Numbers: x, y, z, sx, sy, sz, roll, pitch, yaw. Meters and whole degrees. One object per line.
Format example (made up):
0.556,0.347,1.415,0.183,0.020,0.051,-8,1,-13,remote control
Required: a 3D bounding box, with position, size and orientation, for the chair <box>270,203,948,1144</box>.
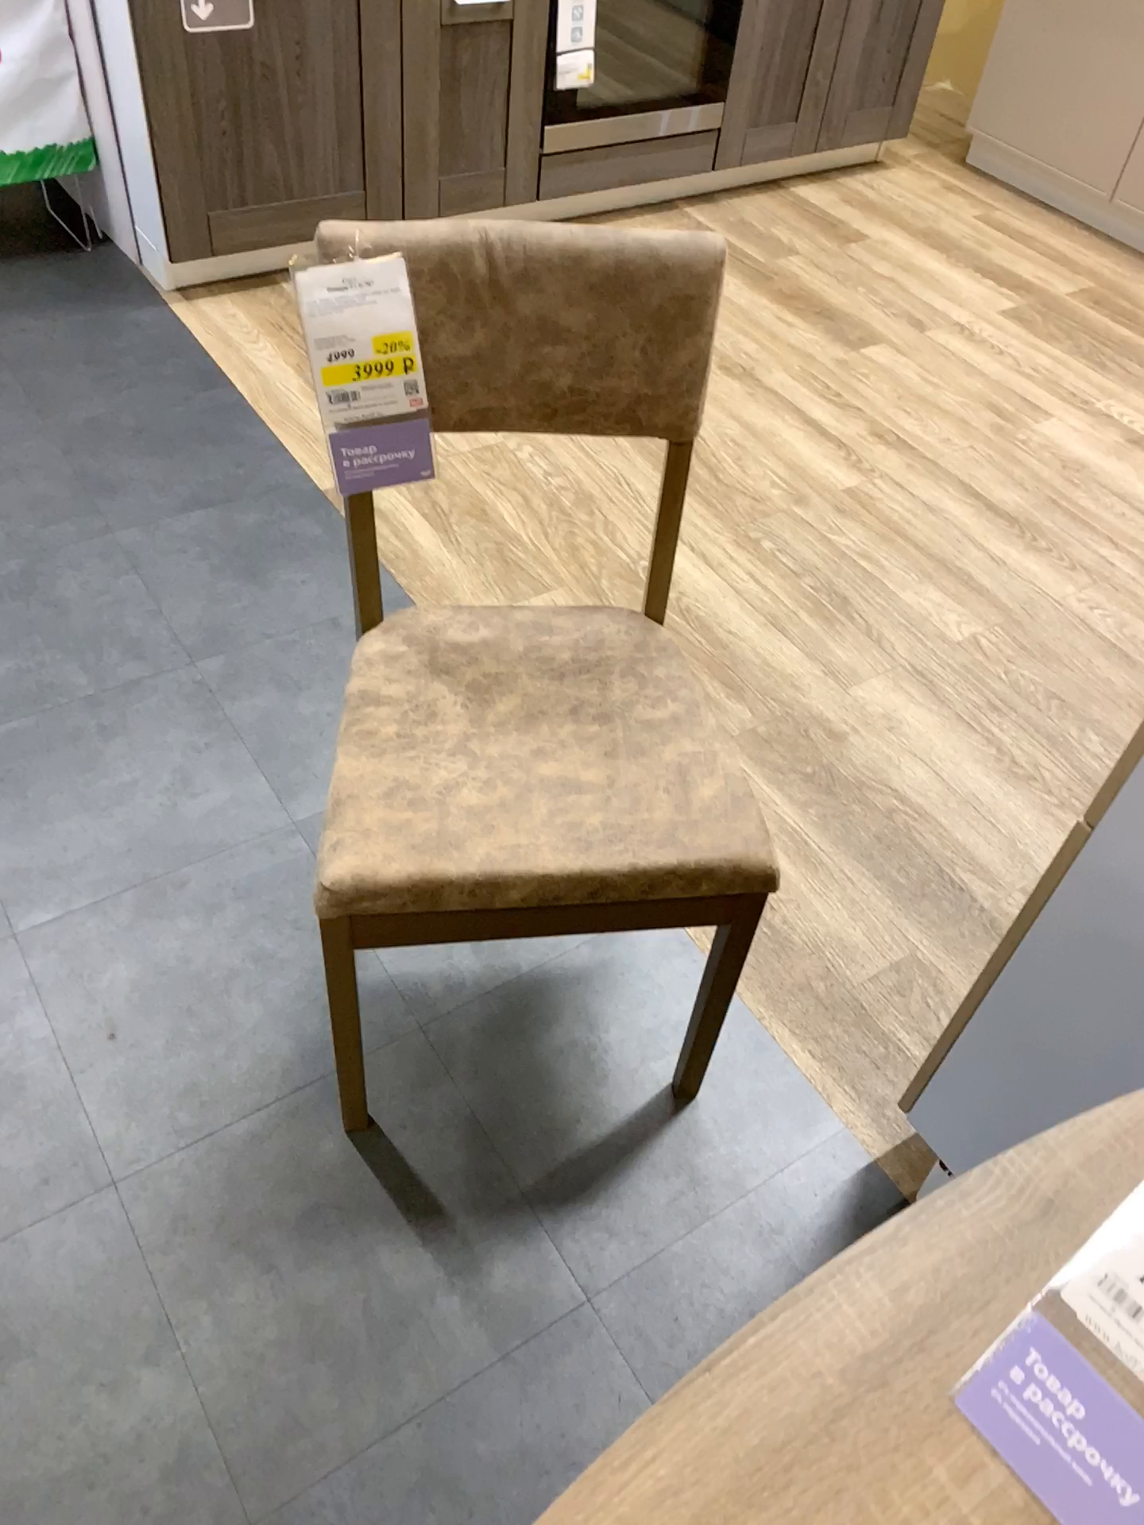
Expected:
-0.041,-0.040,1.317,0.480,0.925,0.513,-2,47,-9,chair
